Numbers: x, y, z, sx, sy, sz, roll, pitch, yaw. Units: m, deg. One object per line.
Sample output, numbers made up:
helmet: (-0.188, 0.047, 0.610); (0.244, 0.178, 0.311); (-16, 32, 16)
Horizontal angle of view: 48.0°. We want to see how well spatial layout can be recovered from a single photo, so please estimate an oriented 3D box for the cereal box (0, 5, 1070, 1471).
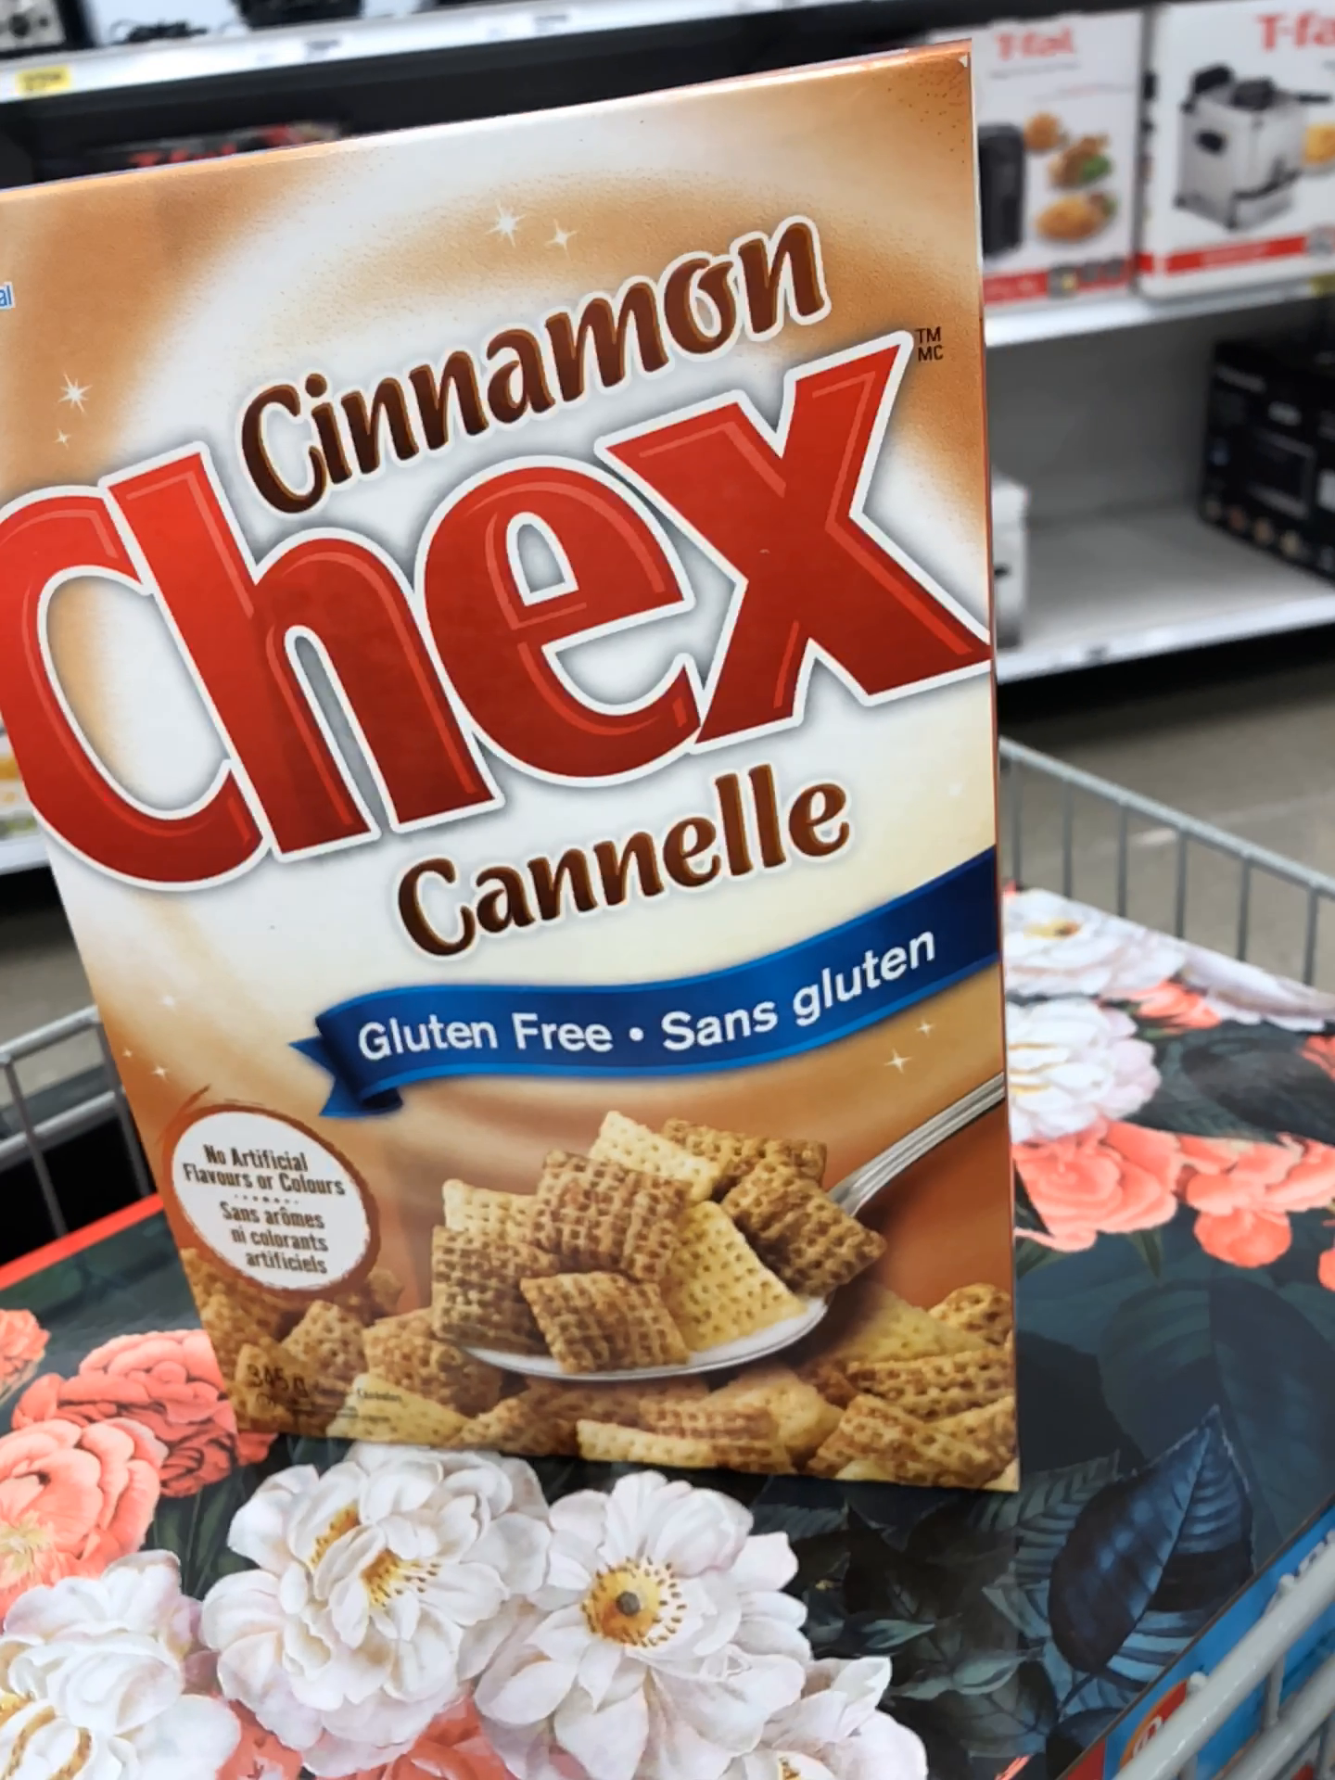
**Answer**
cereal box: (-0.029, -0.013, 0.298); (0.200, 0.259, 0.060); (0, 23, 10)
